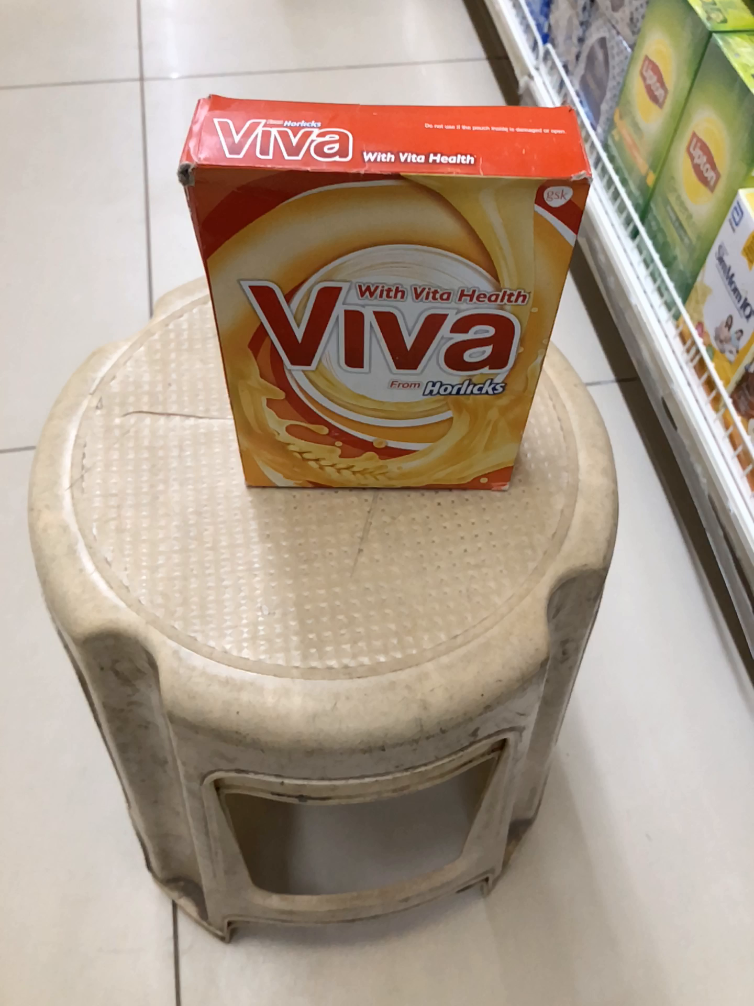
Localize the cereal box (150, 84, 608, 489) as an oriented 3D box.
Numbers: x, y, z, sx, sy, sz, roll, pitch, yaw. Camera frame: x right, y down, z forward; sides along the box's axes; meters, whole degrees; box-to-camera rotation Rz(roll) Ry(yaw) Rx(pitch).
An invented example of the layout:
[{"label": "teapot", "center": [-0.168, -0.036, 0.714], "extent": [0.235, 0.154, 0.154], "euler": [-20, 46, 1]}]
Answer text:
[{"label": "cereal box", "center": [-0.002, -0.083, 0.390], "extent": [0.160, 0.199, 0.050], "euler": [0, 57, -2]}]
